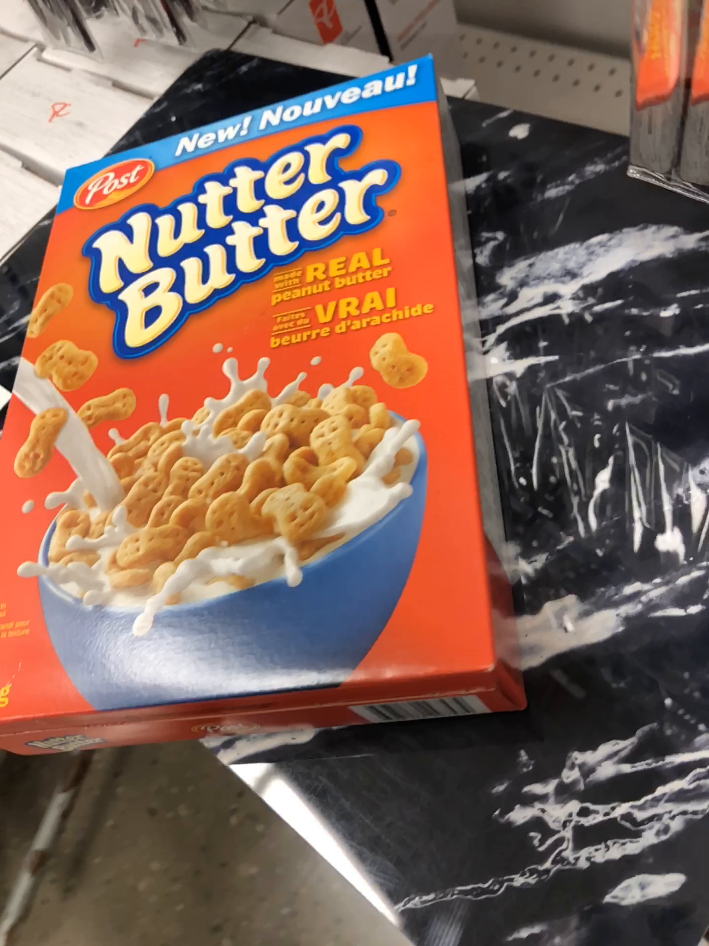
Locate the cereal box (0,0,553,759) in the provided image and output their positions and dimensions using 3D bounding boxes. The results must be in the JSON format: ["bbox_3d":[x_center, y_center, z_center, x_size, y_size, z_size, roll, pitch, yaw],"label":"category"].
[{"bbox_3d":[-0.049,-0.050,0.330,0.210,0.050,0.300,-11,60,16],"label":"cereal box"}]
